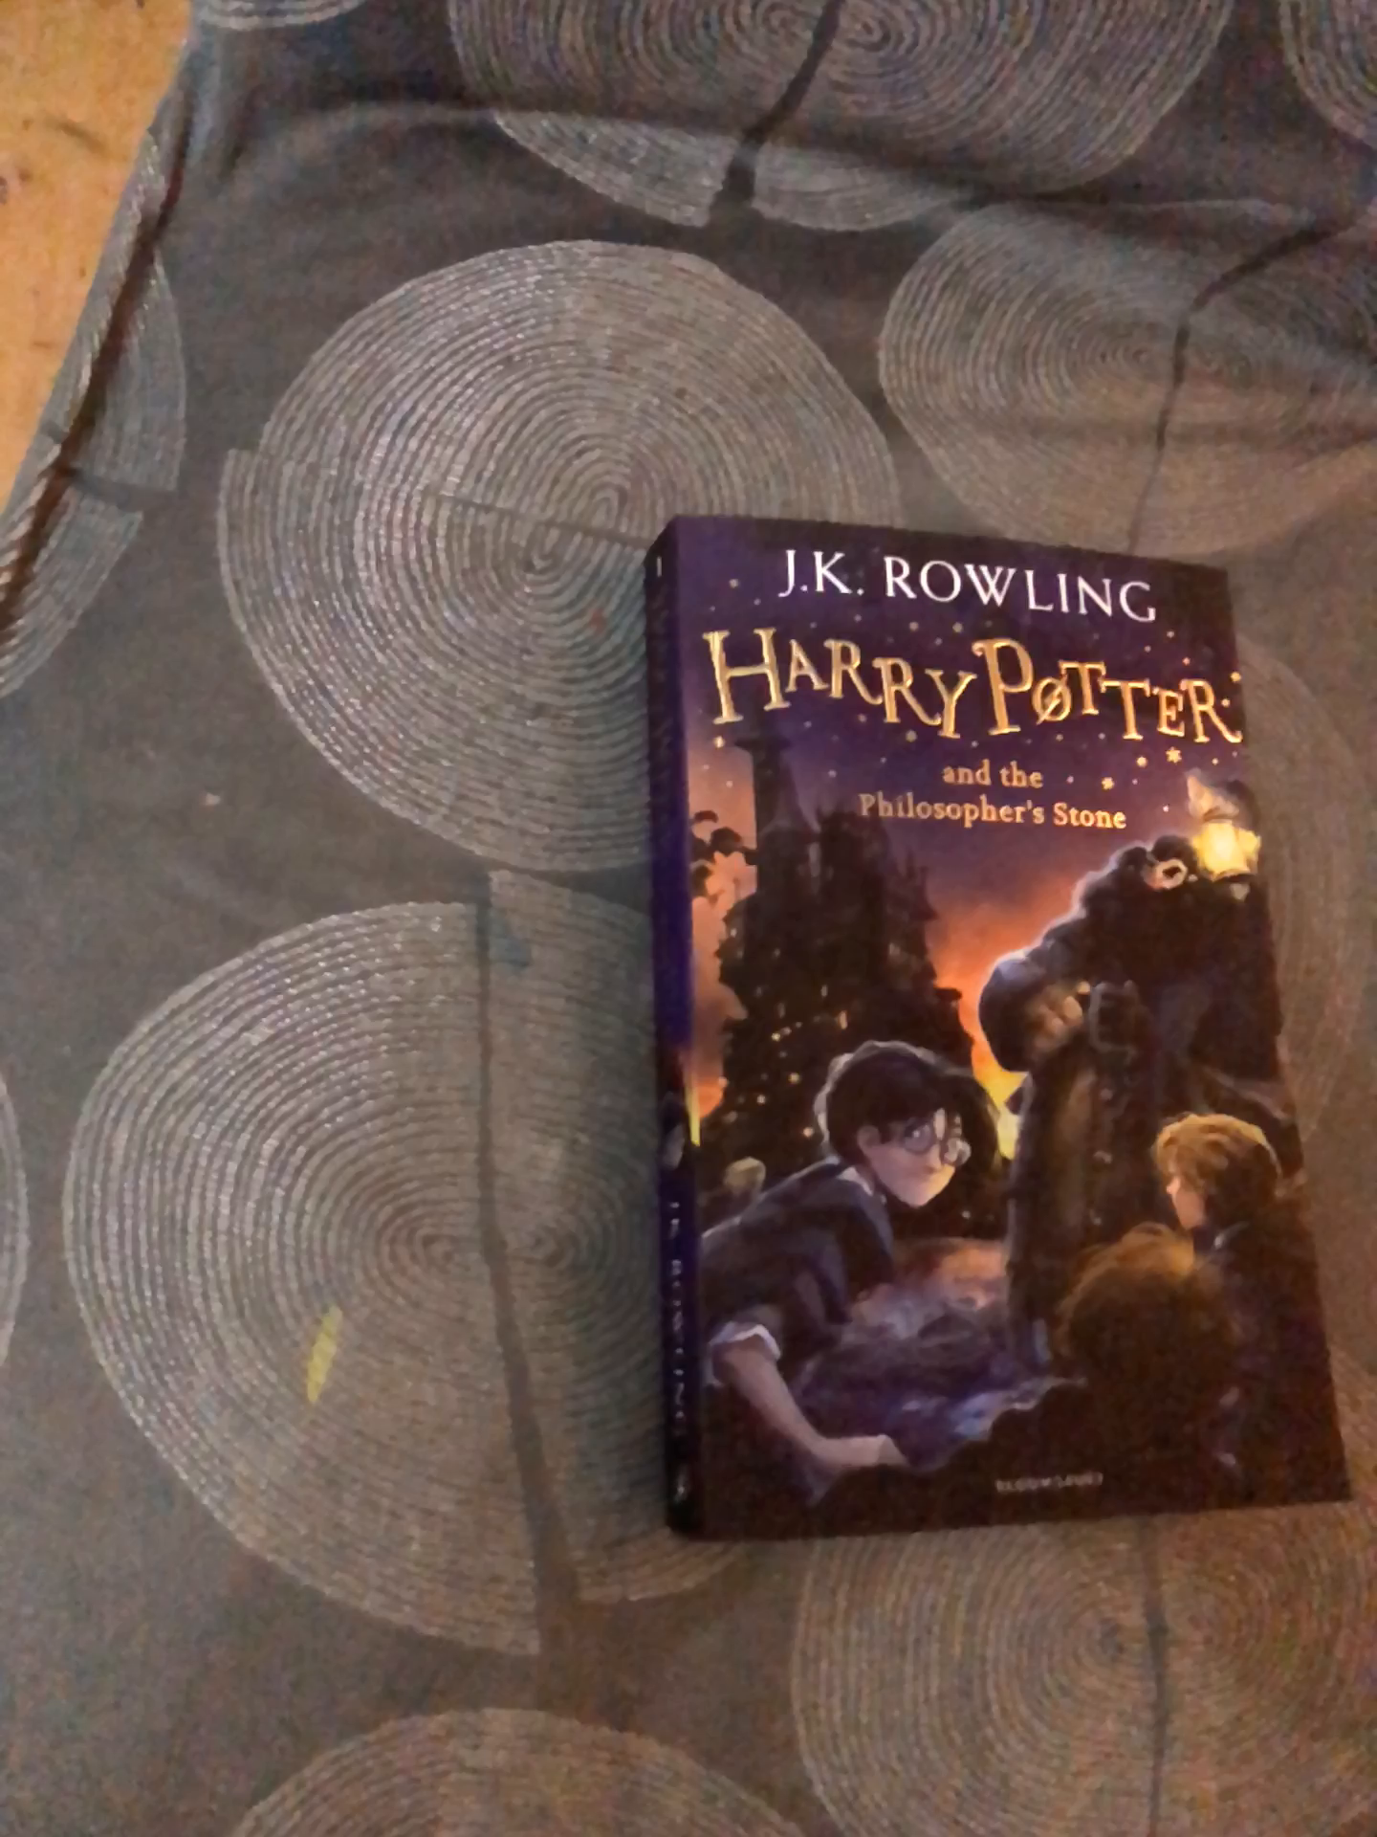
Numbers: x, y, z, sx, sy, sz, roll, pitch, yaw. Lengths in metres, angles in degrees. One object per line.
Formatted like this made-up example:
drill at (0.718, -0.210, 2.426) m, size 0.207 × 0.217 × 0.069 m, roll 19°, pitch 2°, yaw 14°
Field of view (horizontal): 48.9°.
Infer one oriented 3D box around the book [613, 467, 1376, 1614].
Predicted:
book at (0.061, 0.020, 0.318) m, size 0.140 × 0.040 × 0.210 m, roll 2°, pitch 76°, yaw -21°
